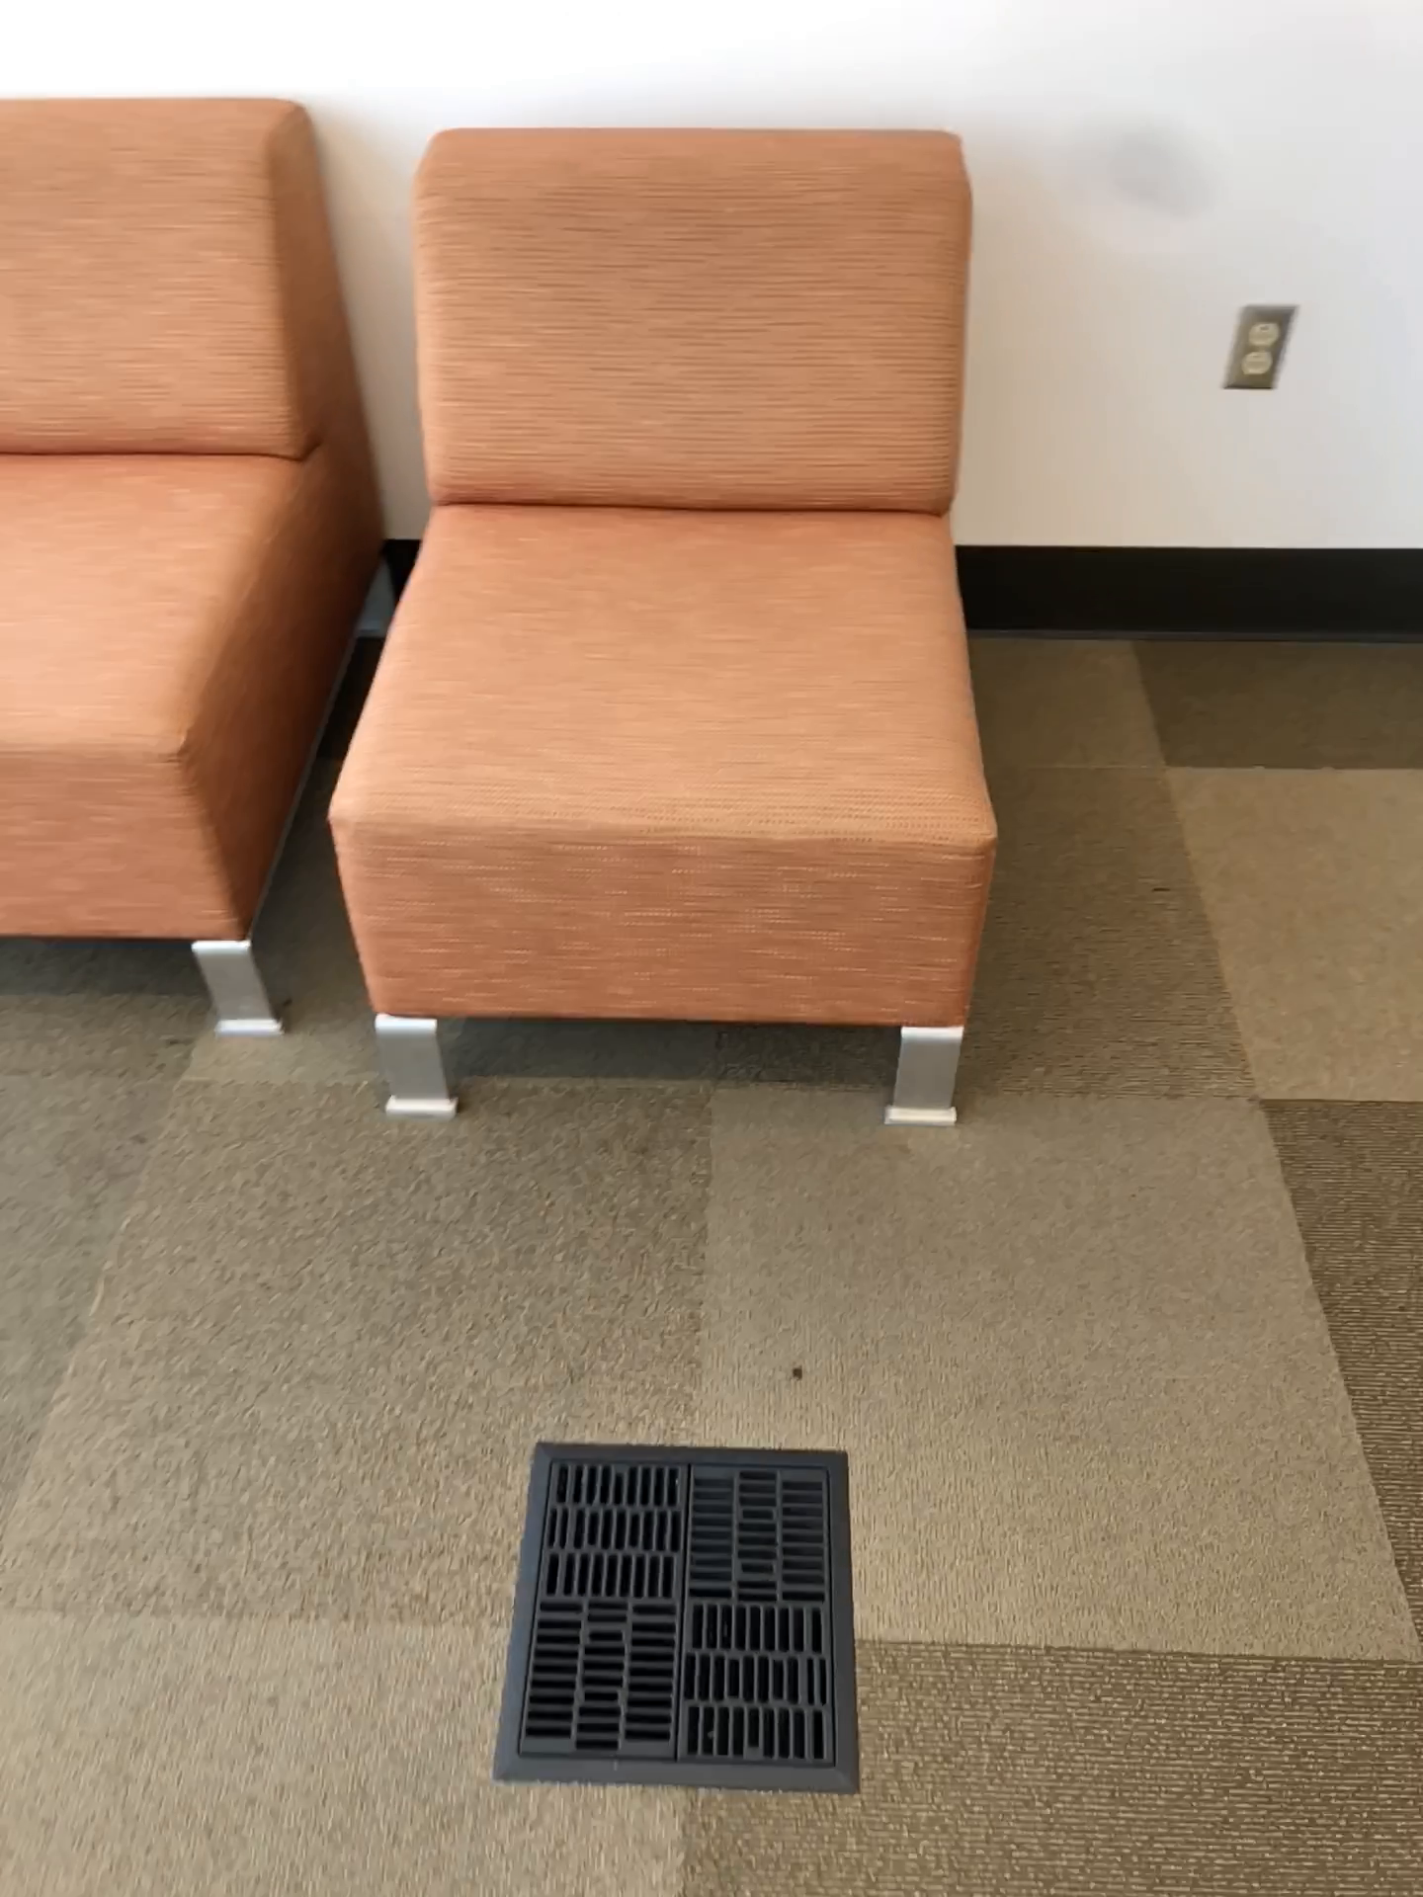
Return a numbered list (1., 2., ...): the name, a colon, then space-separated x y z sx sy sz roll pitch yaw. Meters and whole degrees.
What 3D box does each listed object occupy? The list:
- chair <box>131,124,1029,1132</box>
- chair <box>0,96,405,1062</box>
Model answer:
1. chair: -0.079 -0.400 1.797 0.694 0.760 0.926 1 43 2
2. chair: -0.901 -0.482 1.943 0.764 0.809 0.936 0 43 2
